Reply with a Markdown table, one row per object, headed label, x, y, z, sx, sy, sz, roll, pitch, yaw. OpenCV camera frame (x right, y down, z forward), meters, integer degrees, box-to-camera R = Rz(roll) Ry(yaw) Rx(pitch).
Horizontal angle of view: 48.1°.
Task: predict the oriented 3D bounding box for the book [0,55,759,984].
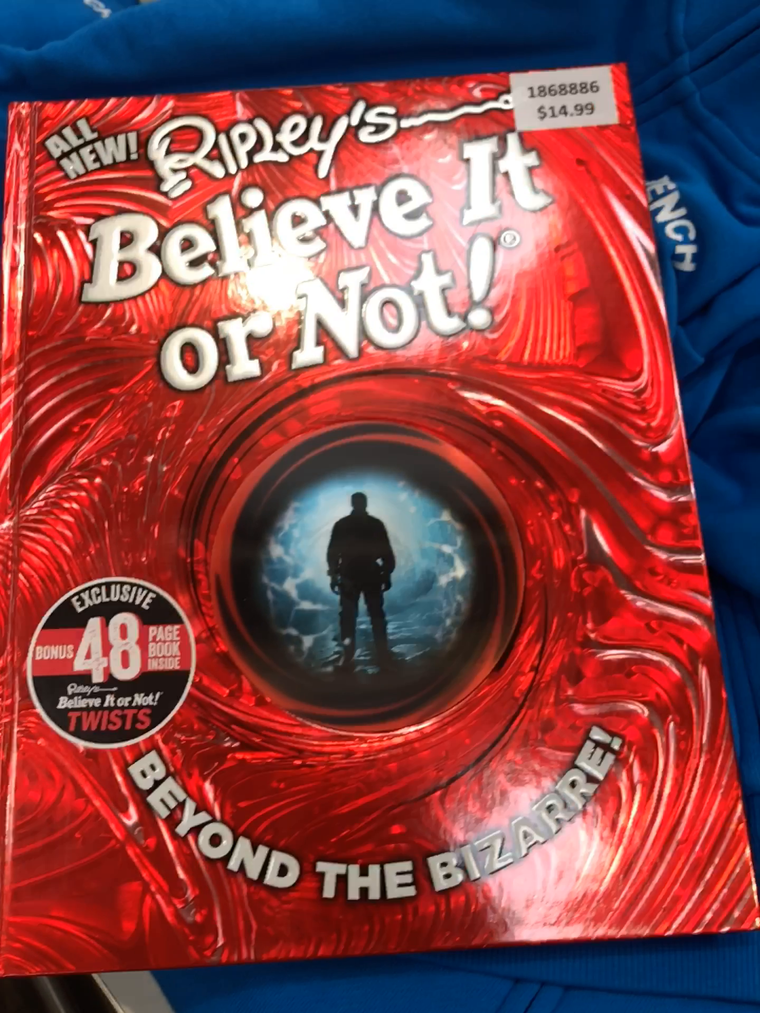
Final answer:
| label | x | y | z | sx | sy | sz | roll | pitch | yaw |
| --- | --- | --- | --- | --- | --- | --- | --- | --- | --- |
| book | -0.011 | -0.011 | 0.298 | 0.244 | 0.028 | 0.303 | -3 | 77 | 0 |
